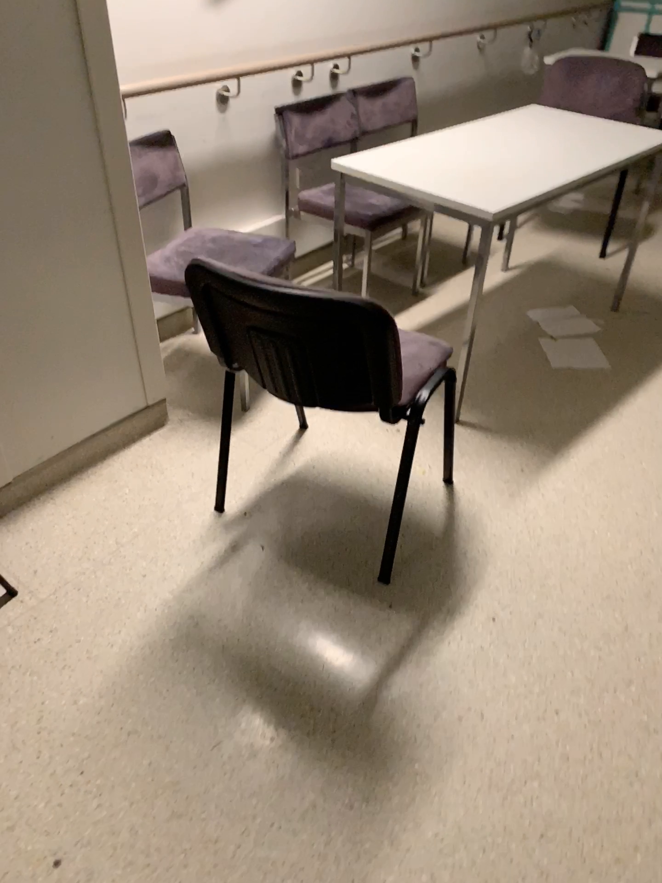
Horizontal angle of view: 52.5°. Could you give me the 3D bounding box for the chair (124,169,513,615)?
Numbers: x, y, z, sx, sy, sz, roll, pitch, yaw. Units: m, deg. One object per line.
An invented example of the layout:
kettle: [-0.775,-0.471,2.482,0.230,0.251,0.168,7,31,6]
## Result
chair: [-0.007,-0.154,1.644,0.601,0.753,0.604,20,41,22]

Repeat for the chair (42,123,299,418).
chair: [-0.458,-0.568,2.191,0.561,0.723,0.504,13,39,15]
